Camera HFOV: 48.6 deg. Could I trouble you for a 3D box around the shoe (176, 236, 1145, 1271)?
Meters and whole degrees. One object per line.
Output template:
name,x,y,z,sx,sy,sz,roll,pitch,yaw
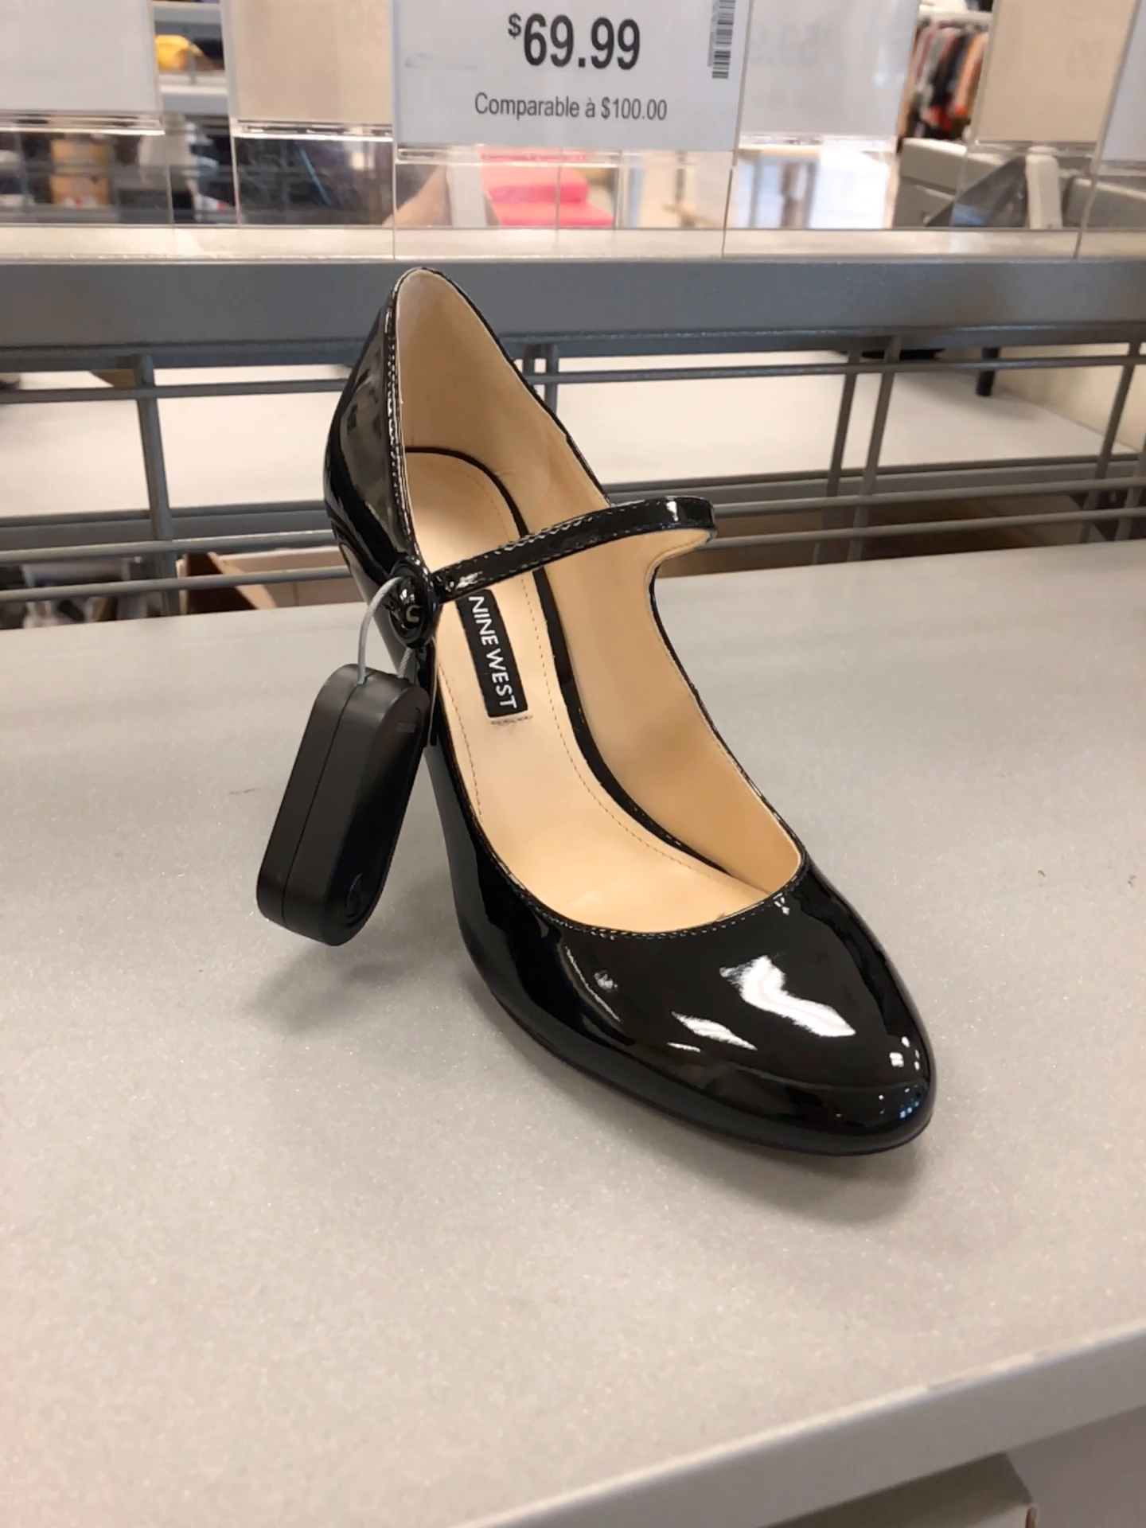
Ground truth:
shoe,-0.005,-0.032,0.331,0.090,0.151,0.257,-18,38,-31
